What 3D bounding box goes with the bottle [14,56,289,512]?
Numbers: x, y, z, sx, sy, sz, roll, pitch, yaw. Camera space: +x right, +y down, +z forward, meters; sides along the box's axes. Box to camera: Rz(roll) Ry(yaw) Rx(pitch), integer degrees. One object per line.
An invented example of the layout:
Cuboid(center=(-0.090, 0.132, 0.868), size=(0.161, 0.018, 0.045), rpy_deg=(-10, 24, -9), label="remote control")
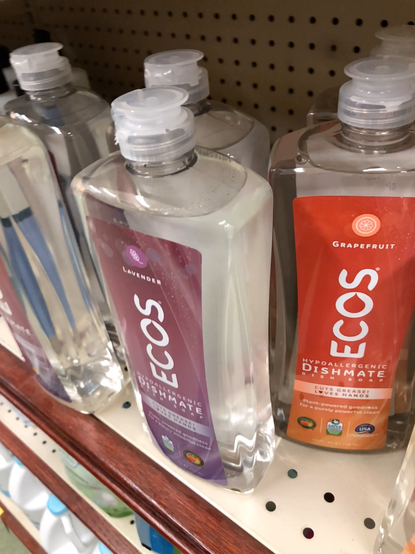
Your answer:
Cuboid(center=(-0.009, 0.024, 0.244), size=(0.090, 0.243, 0.048), rpy_deg=(20, 47, 30), label="bottle")
